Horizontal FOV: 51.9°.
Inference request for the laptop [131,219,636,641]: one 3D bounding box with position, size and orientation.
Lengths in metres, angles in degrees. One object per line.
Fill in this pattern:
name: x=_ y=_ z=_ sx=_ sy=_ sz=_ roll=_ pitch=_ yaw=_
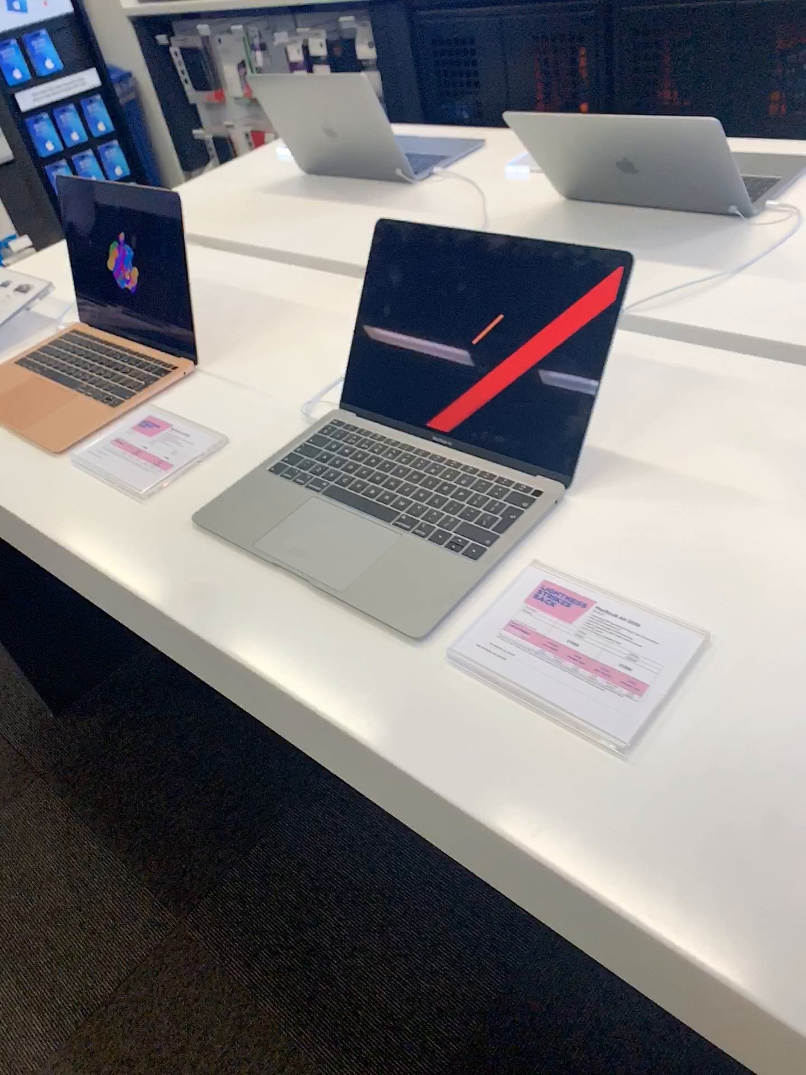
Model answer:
laptop: x=-0.003 y=-0.127 z=0.742 sx=0.290 sy=0.160 sz=0.330 roll=23 pitch=52 yaw=36
